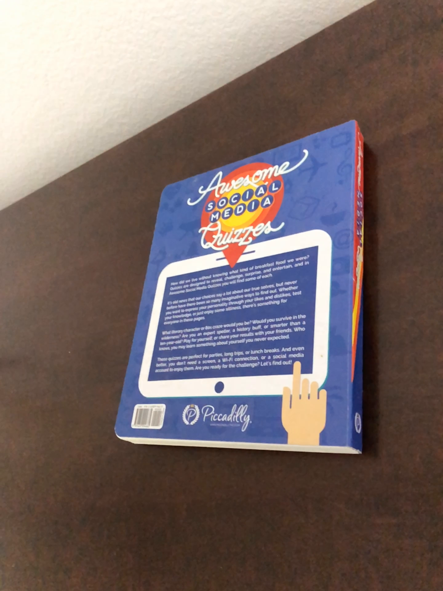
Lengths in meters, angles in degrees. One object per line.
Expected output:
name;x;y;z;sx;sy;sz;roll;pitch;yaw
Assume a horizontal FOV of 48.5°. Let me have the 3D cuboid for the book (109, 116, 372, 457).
book;0.013;-0.004;0.328;0.166;0.030;0.201;-9;63;34
